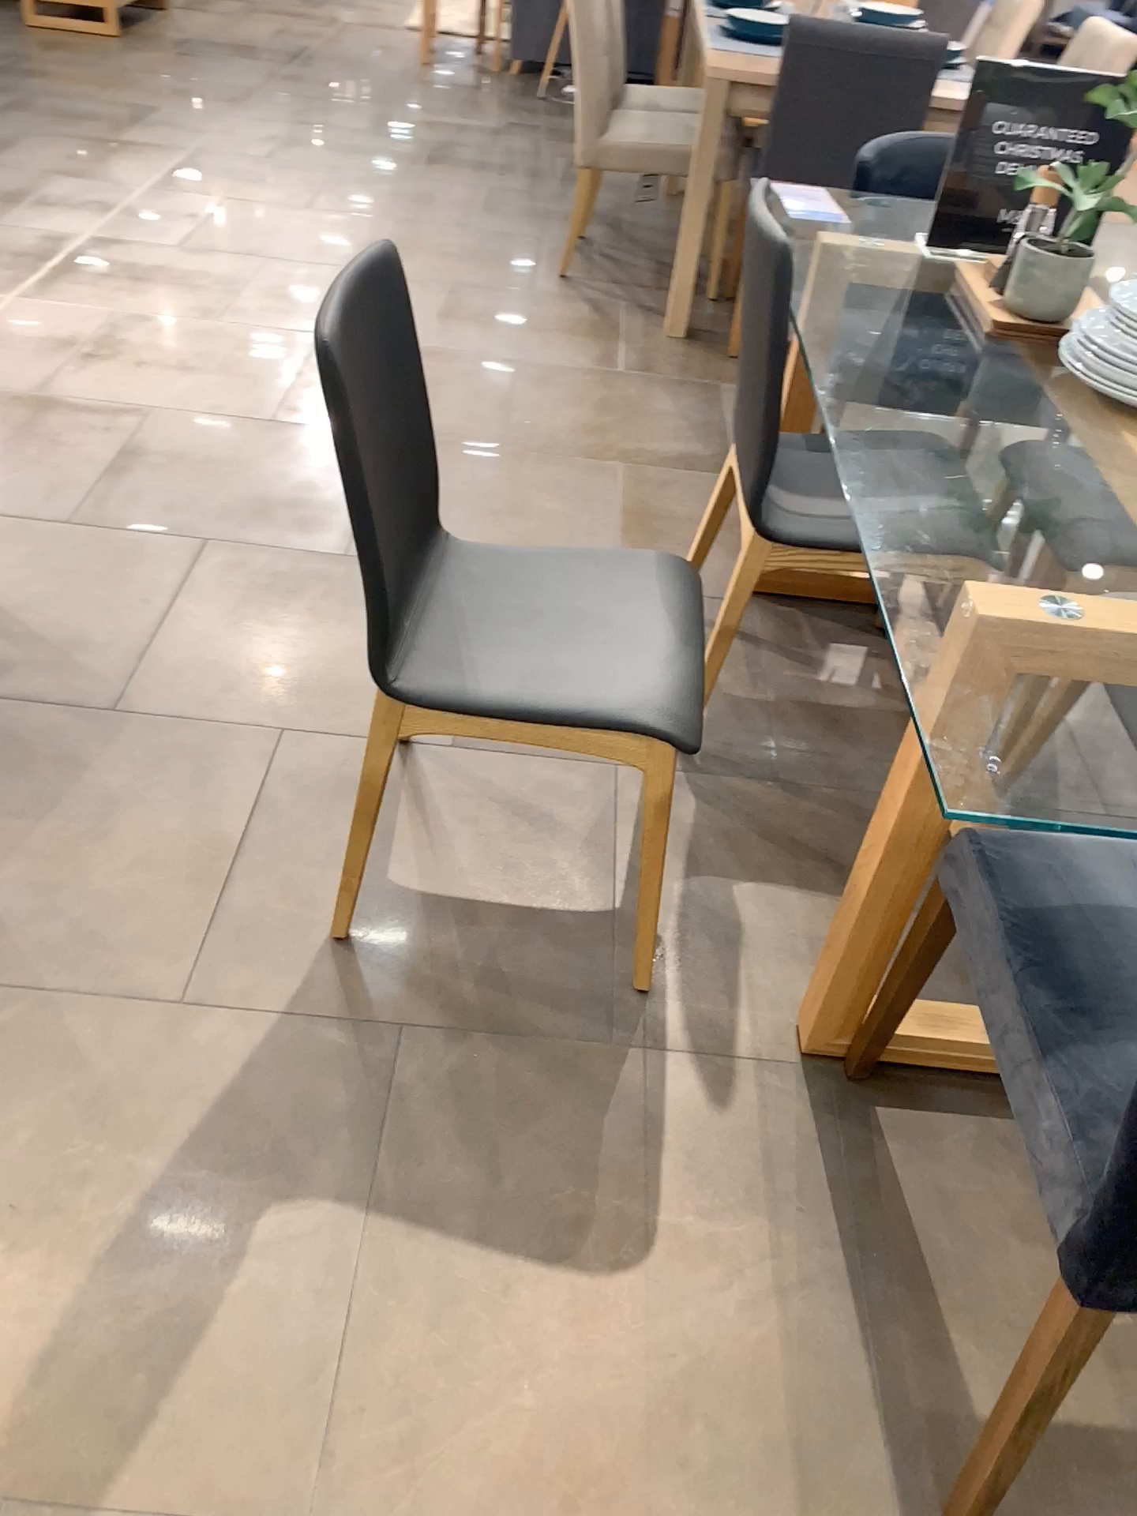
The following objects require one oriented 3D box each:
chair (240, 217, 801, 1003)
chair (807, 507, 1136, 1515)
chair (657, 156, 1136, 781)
[{"bbox_3d":[-0.061,-0.188,1.571,0.536,0.813,0.568,8,39,1],"label":"chair"},{"bbox_3d":[0.646,0.288,1.117,0.542,0.813,0.592,4,40,-5],"label":"chair"},{"bbox_3d":[0.464,-0.474,1.969,0.496,0.833,0.528,6,39,-2],"label":"chair"}]
